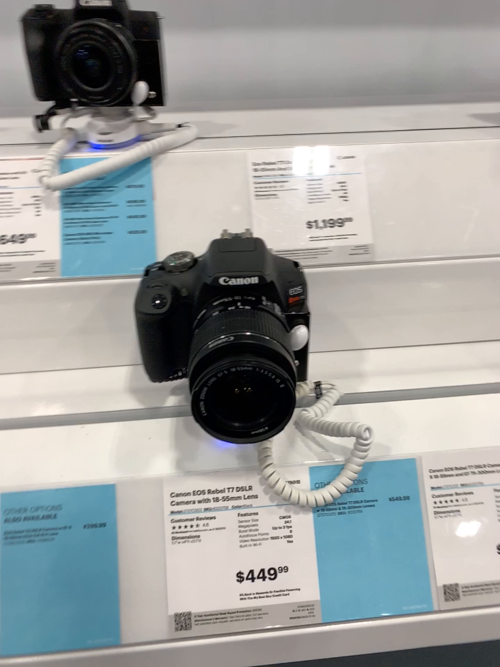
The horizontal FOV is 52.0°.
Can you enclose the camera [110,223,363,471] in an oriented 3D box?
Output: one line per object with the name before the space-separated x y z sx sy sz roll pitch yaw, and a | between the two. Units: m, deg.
camera | -0.016 -0.002 0.348 0.130 0.090 0.151 -5 31 -7
